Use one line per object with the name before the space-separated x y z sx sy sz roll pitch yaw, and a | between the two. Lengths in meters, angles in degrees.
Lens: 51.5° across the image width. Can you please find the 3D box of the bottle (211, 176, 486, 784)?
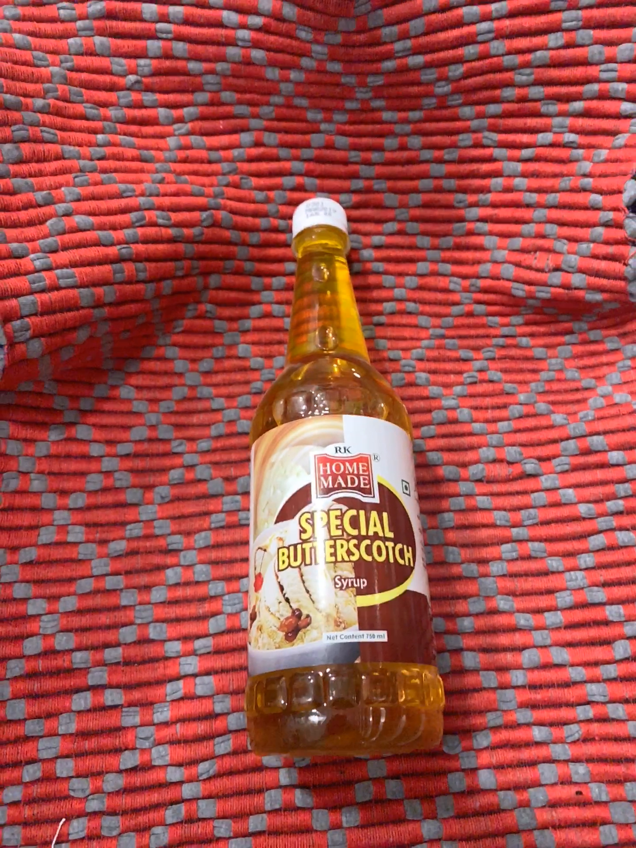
bottle | 0.005 0.005 0.285 0.080 0.060 0.260 -3 58 0
